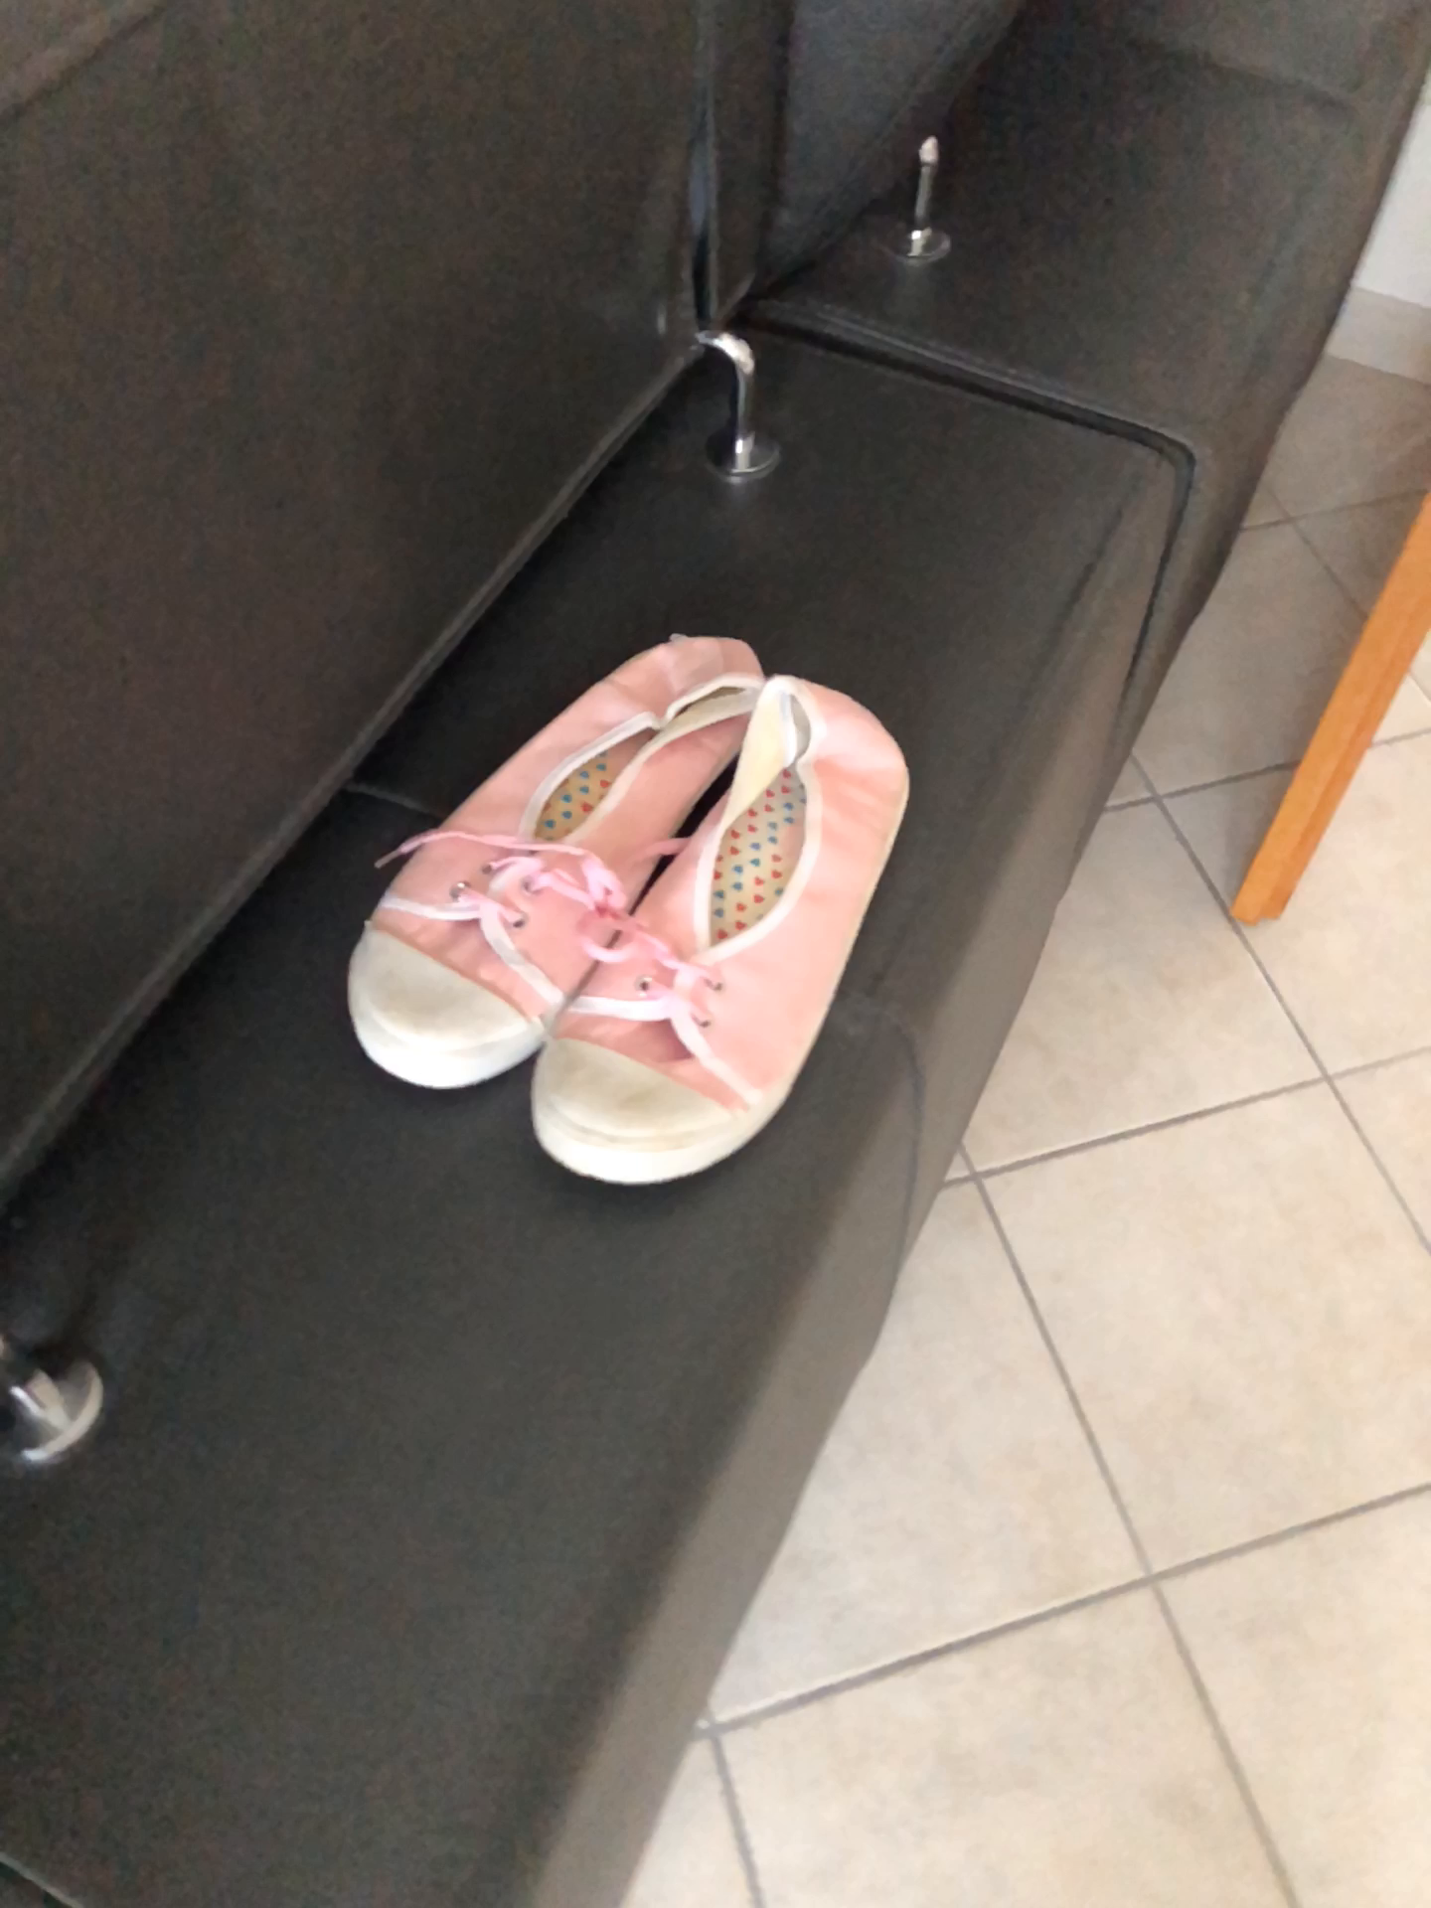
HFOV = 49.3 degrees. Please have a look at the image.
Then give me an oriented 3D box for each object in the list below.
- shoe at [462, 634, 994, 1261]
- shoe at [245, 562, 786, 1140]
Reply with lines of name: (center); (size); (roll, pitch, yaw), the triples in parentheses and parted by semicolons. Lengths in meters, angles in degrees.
shoe: (0.013, -0.014, 0.575); (0.090, 0.040, 0.241); (24, 58, 15)
shoe: (-0.067, -0.050, 0.606); (0.090, 0.040, 0.241); (24, 58, 15)
